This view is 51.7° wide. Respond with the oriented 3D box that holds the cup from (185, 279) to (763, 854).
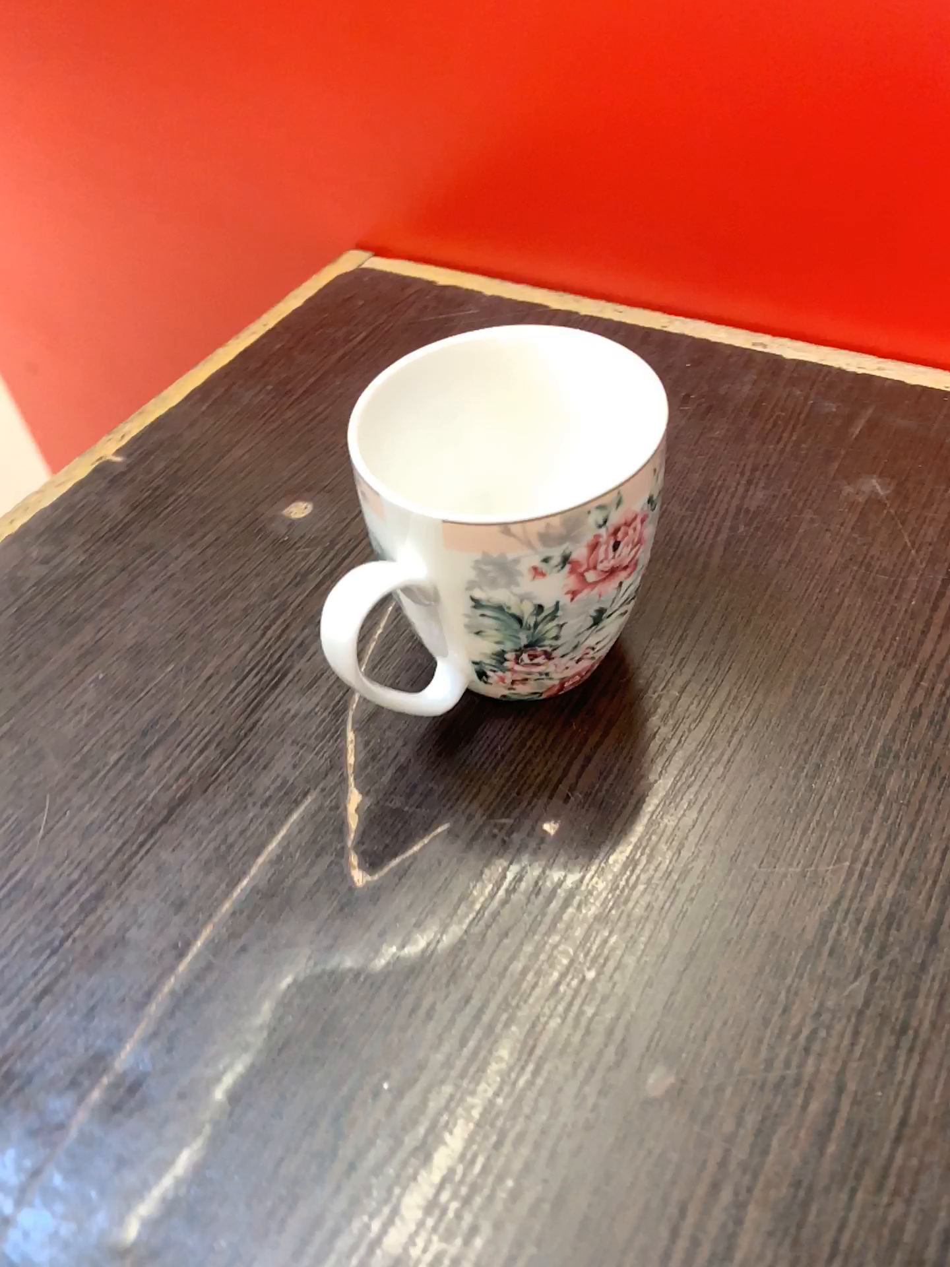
[{"bbox_3d":[0.005,-0.023,0.247,0.080,0.070,0.110,28,56,28],"label":"cup"}]
